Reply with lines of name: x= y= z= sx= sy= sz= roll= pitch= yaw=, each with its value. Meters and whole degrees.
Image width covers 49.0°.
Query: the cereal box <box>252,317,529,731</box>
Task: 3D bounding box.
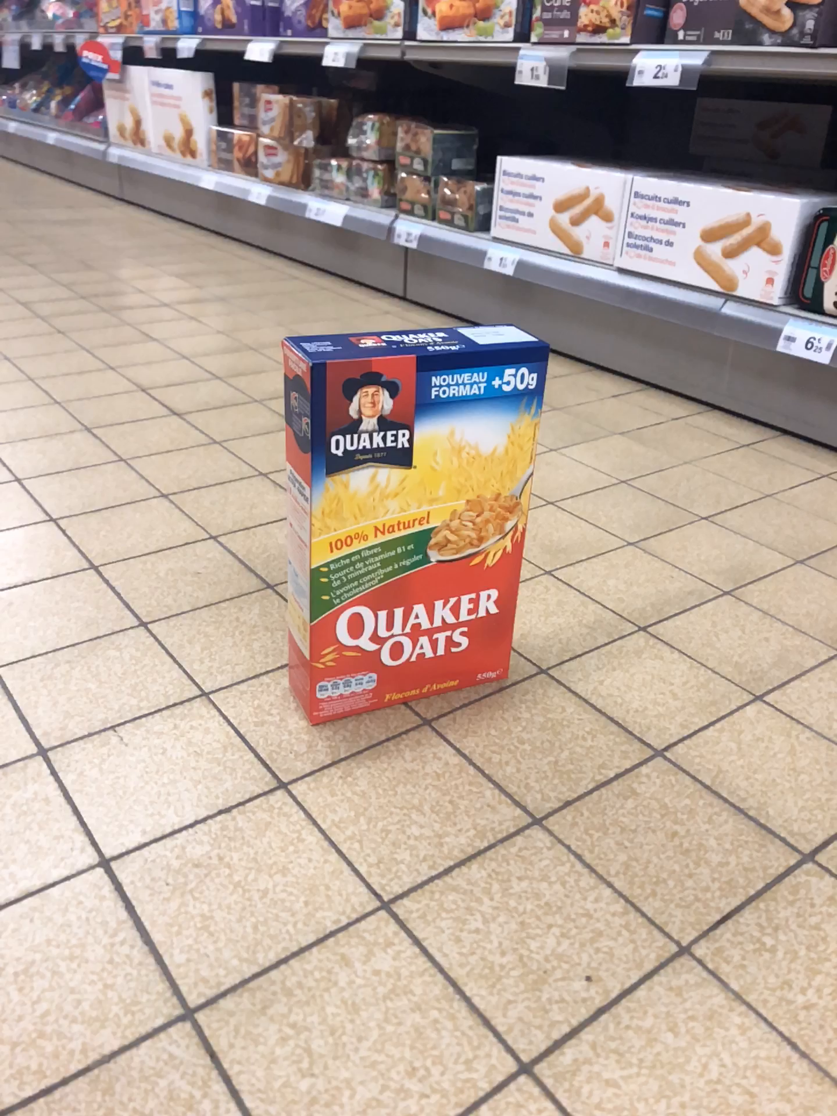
cereal box: x=-0.020 y=-0.019 z=0.545 sx=0.140 sy=0.229 sz=0.050 roll=-9 pitch=29 yaw=-23
